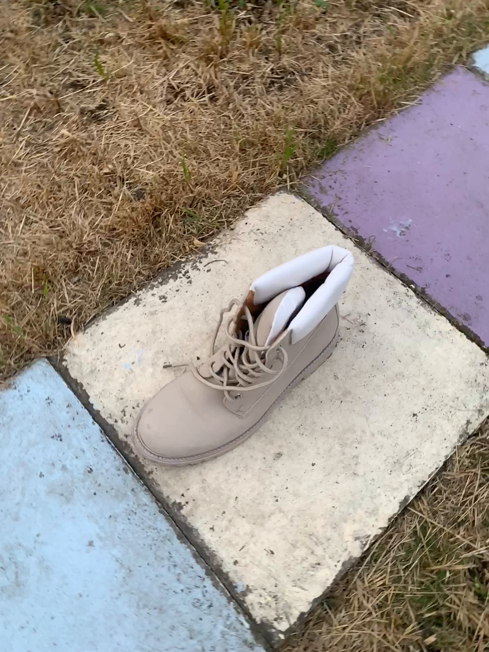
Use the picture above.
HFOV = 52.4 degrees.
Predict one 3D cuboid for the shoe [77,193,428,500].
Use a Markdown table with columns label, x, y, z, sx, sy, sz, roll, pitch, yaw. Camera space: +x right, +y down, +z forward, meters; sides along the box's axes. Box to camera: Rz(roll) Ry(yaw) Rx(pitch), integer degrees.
| label | x | y | z | sx | sy | sz | roll | pitch | yaw |
| --- | --- | --- | --- | --- | --- | --- | --- | --- | --- |
| shoe | 0.010 | 0.030 | 0.491 | 0.280 | 0.199 | 0.100 | -33 | 71 | -17 |
